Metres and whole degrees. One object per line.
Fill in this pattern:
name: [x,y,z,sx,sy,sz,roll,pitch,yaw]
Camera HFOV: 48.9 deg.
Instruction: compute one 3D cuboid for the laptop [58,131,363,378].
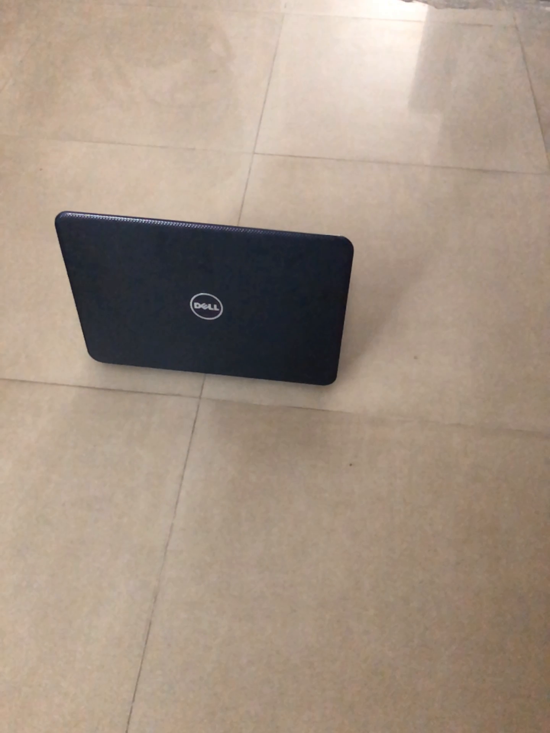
laptop: [-0.066,-0.162,0.874,0.351,0.227,0.249,6,52,4]
